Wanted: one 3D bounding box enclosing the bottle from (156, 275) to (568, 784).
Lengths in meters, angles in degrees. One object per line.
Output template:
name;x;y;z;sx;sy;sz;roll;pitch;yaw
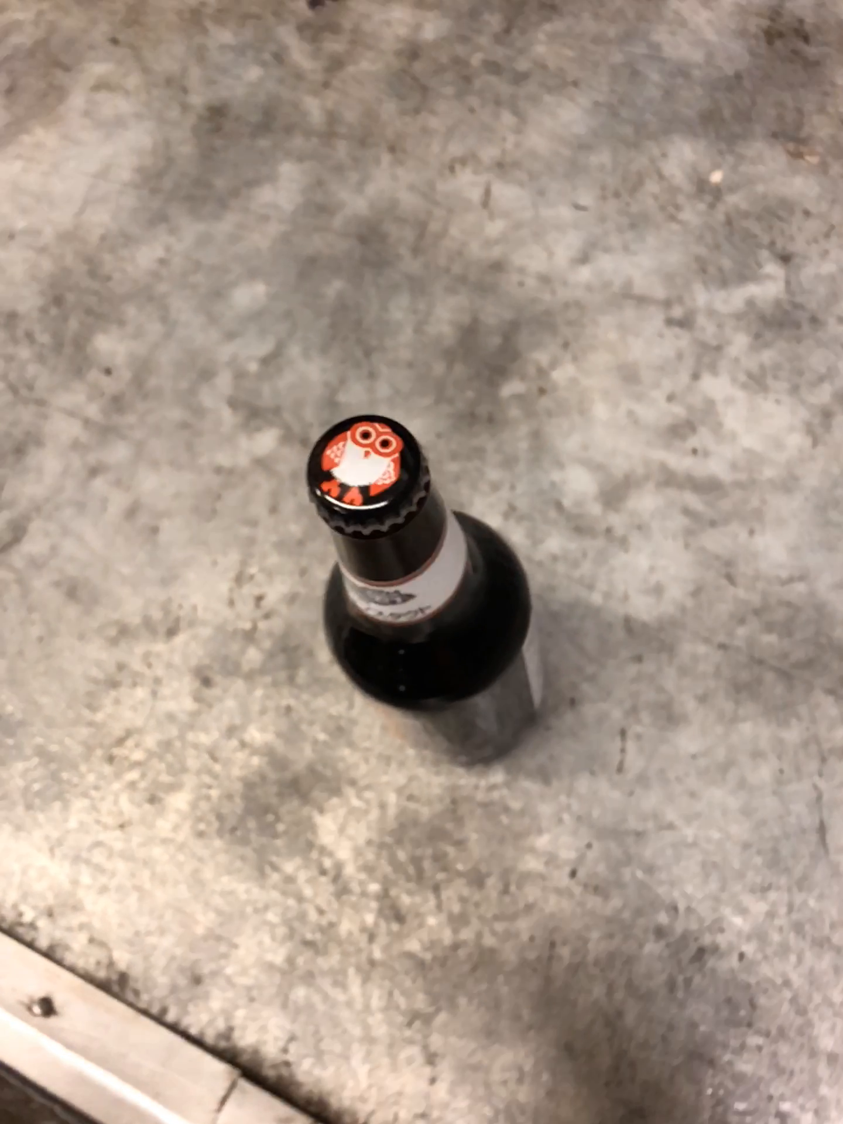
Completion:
bottle;-0.003;0.009;0.287;0.069;0.181;0.063;-4;67;9
